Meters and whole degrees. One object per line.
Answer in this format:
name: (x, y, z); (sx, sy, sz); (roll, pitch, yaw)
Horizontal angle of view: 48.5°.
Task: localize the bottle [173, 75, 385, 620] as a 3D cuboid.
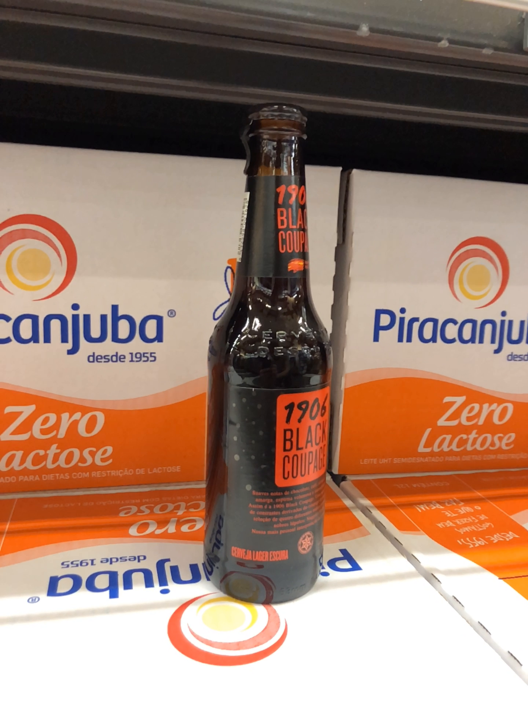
bottle: (0.005, -0.002, 0.280); (0.070, 0.219, 0.060); (-6, 12, -44)
